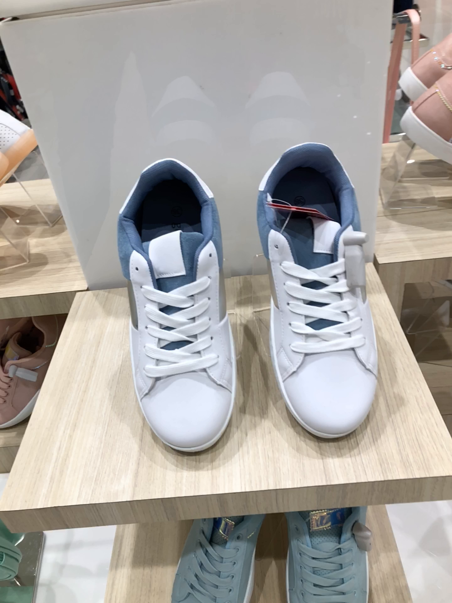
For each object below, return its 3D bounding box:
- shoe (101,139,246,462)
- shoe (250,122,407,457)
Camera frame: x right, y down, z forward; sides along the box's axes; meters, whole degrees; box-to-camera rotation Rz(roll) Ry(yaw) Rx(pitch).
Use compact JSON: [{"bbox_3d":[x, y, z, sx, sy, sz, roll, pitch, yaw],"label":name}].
[{"bbox_3d":[-0.043,0.000,0.456,0.100,0.260,0.090,-5,-4,3],"label":"shoe"},{"bbox_3d":[0.083,-0.009,0.441,0.100,0.260,0.090,-5,-4,3],"label":"shoe"}]
